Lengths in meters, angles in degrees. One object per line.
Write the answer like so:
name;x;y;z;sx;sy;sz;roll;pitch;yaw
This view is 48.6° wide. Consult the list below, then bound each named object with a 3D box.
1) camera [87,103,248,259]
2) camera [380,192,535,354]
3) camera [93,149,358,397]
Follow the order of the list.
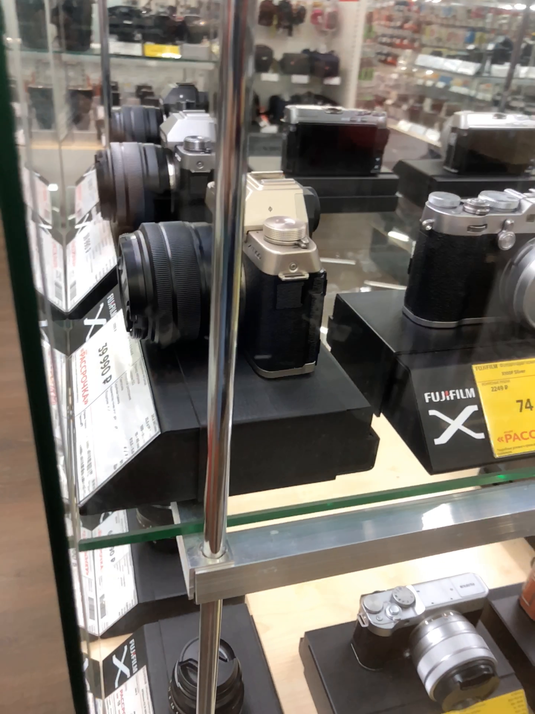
camera;-0.086;-0.147;0.479;0.102;0.086;0.141;-5;31;-17
camera;0.145;-0.053;0.355;0.131;0.076;0.055;-4;31;-15
camera;-0.032;-0.055;0.313;0.100;0.080;0.132;-6;31;-19
